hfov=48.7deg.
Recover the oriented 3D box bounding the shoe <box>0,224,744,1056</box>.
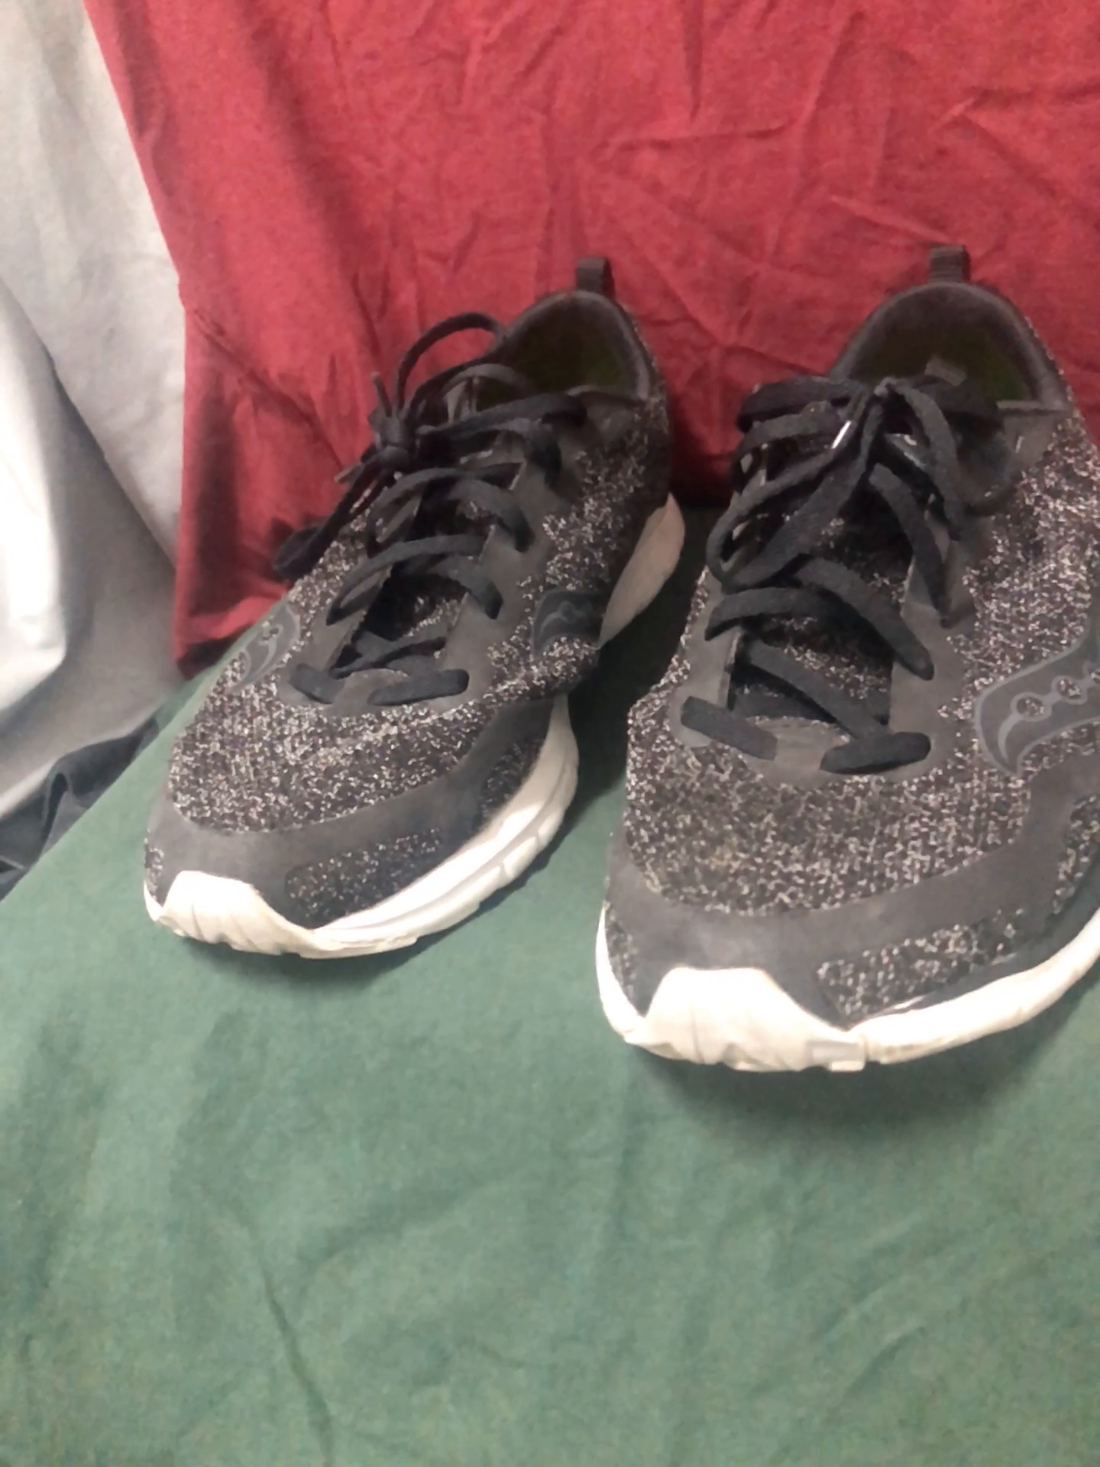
[{"bbox_3d":[-0.039,-0.053,0.362,0.120,0.099,0.272,3,38,24],"label":"shoe"}]

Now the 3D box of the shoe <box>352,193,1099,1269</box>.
[{"bbox_3d":[0.082,-0.034,0.291,0.120,0.099,0.262,4,38,26],"label":"shoe"}]
